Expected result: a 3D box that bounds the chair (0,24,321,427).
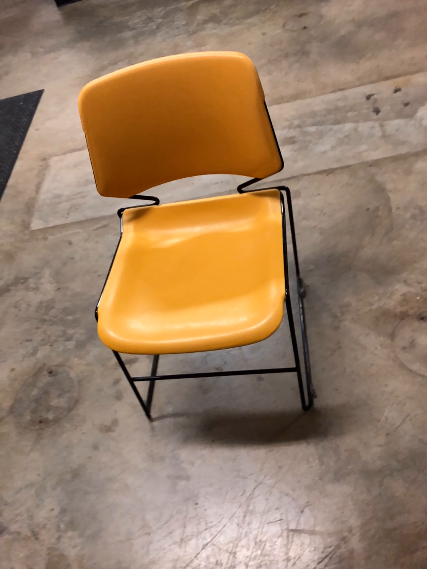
[{"bbox_3d":[-0.067,-0.092,1.203,0.577,0.736,0.618,-6,49,13],"label":"chair"}]
